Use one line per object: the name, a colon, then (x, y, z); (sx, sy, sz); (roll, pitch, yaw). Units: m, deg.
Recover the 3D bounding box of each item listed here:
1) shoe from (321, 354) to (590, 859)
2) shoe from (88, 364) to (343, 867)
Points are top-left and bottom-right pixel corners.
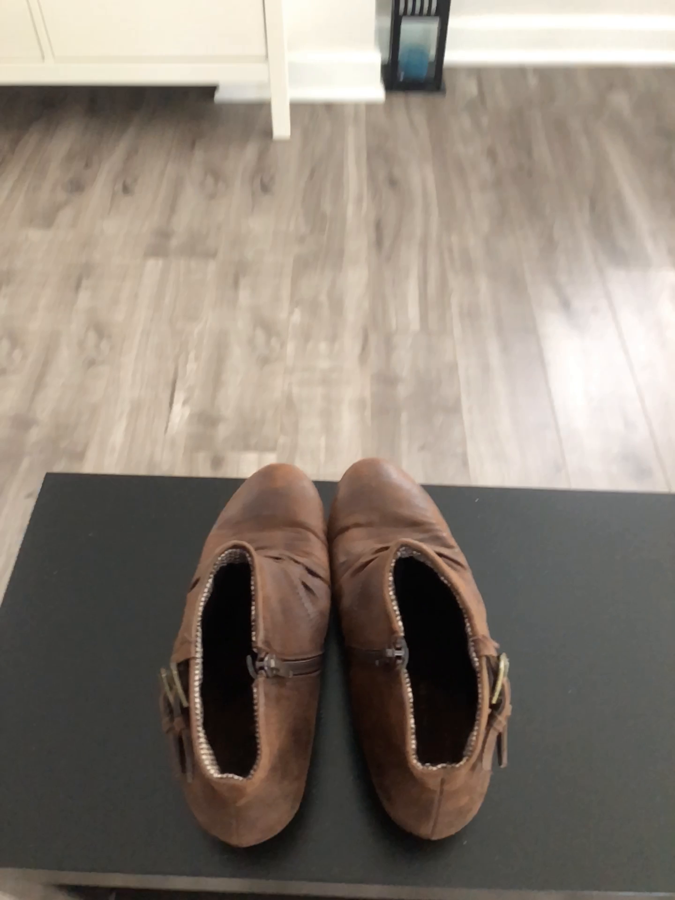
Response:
shoe: (0.045, 0.080, 0.418); (0.090, 0.130, 0.240); (-4, 52, -3)
shoe: (-0.047, 0.080, 0.404); (0.090, 0.110, 0.240); (2, 52, 1)
